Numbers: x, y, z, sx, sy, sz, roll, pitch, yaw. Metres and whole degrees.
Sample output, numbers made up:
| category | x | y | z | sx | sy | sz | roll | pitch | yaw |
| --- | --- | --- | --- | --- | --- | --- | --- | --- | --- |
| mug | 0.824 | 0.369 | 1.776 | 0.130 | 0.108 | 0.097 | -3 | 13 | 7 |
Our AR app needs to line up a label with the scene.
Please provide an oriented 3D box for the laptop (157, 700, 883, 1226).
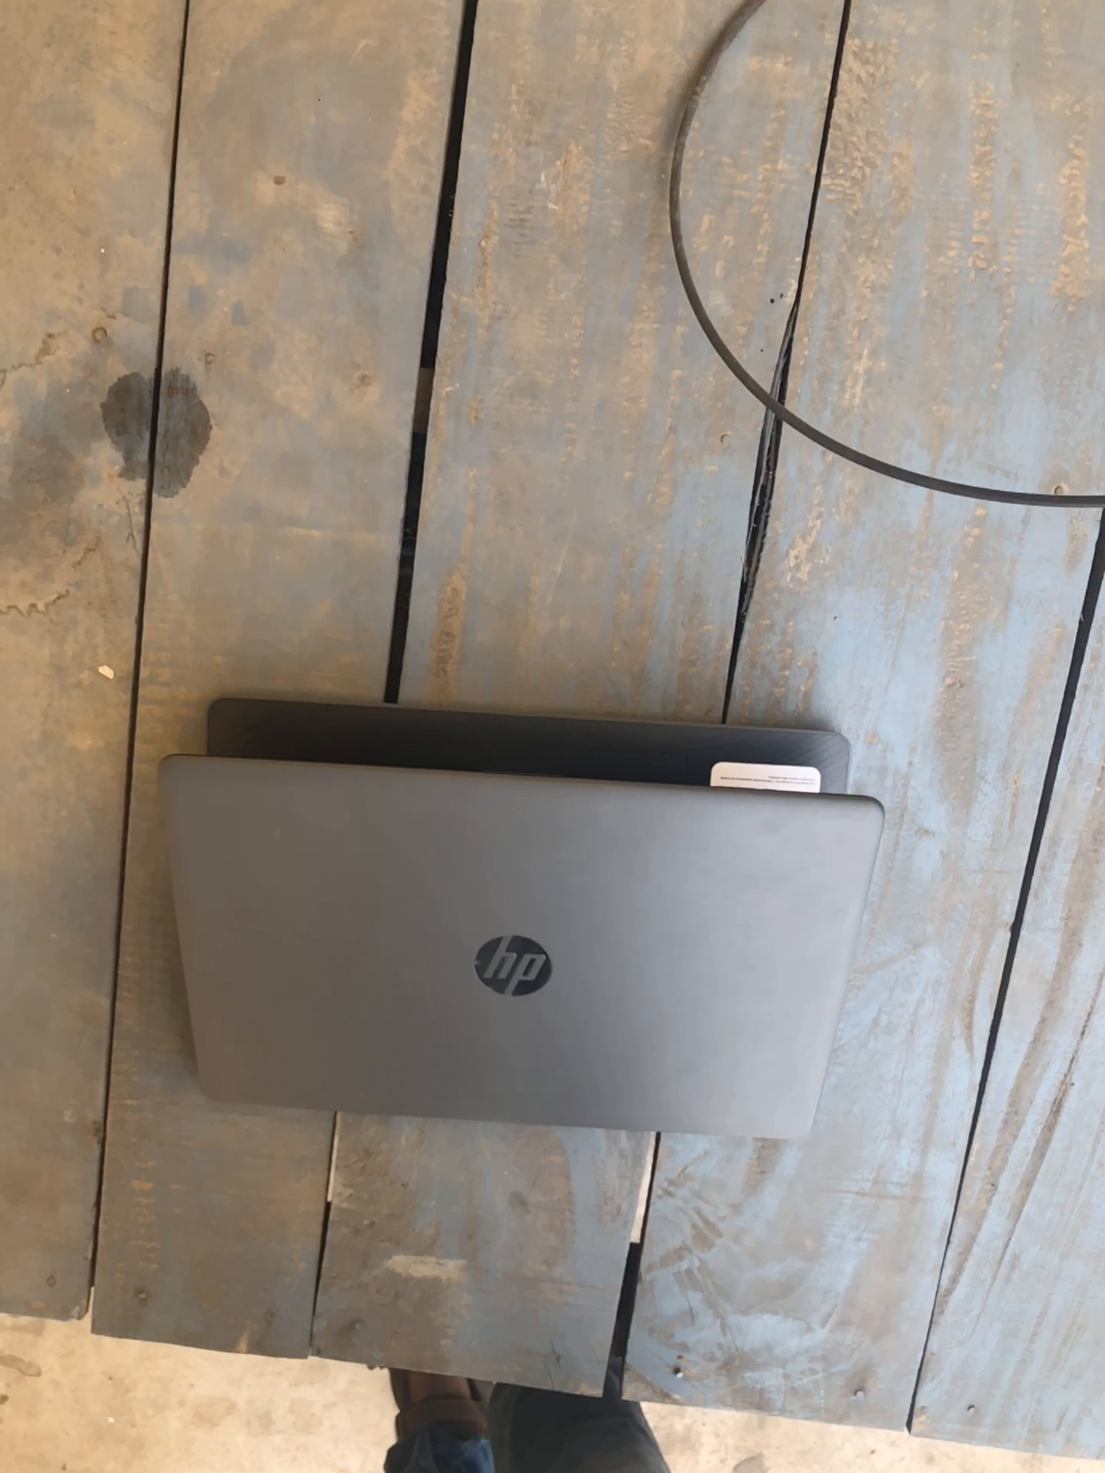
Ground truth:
| category | x | y | z | sx | sy | sz | roll | pitch | yaw |
| --- | --- | --- | --- | --- | --- | --- | --- | --- | --- |
| laptop | -0.022 | 0.120 | 0.675 | 0.361 | 0.097 | 0.243 | 4 | 101 | 0 |
